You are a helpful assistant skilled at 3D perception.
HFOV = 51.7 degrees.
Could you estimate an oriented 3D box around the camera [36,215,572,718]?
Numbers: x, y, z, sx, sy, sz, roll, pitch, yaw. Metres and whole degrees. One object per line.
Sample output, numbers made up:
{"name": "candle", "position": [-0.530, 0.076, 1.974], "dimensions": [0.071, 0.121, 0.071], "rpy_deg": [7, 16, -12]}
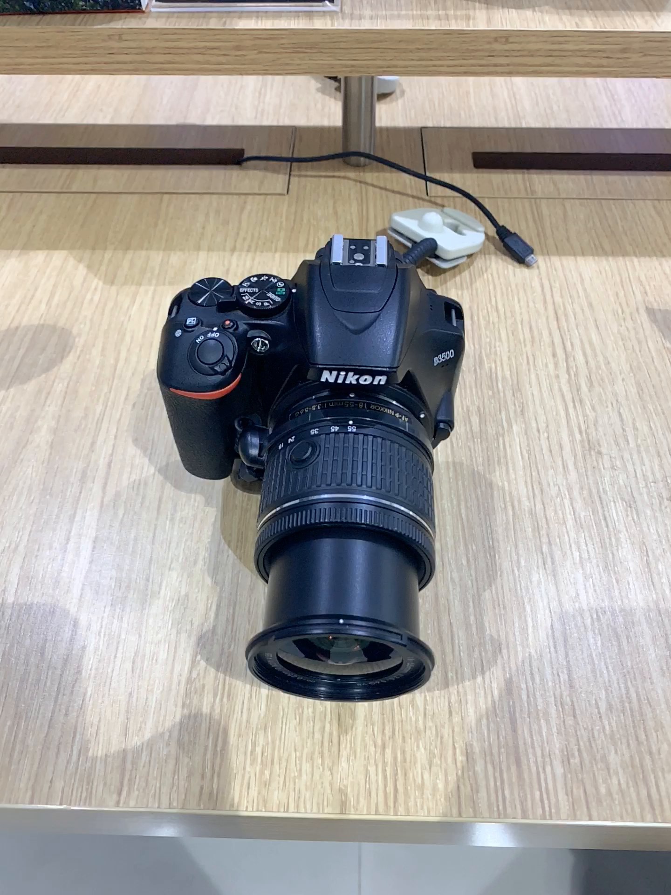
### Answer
{"name": "camera", "position": [-0.004, 0.005, 0.228], "dimensions": [0.117, 0.095, 0.131], "rpy_deg": [2, 53, 2]}
